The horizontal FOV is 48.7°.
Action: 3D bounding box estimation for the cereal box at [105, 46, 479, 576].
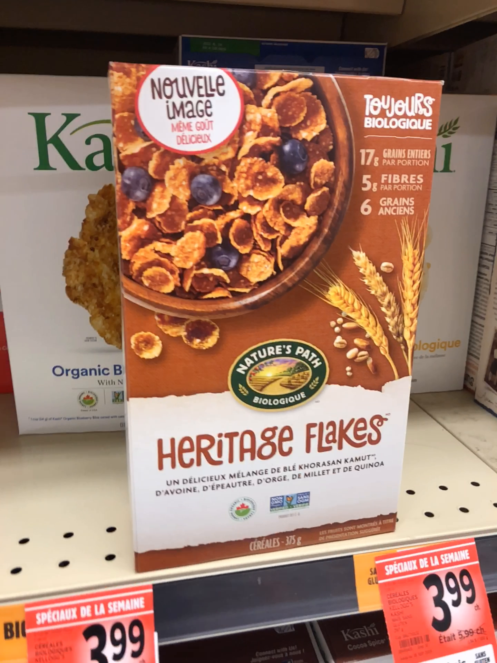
[{"bbox_3d":[0.016,-0.007,0.310,0.170,0.259,0.070,-4,18,-13],"label":"cereal box"}]
